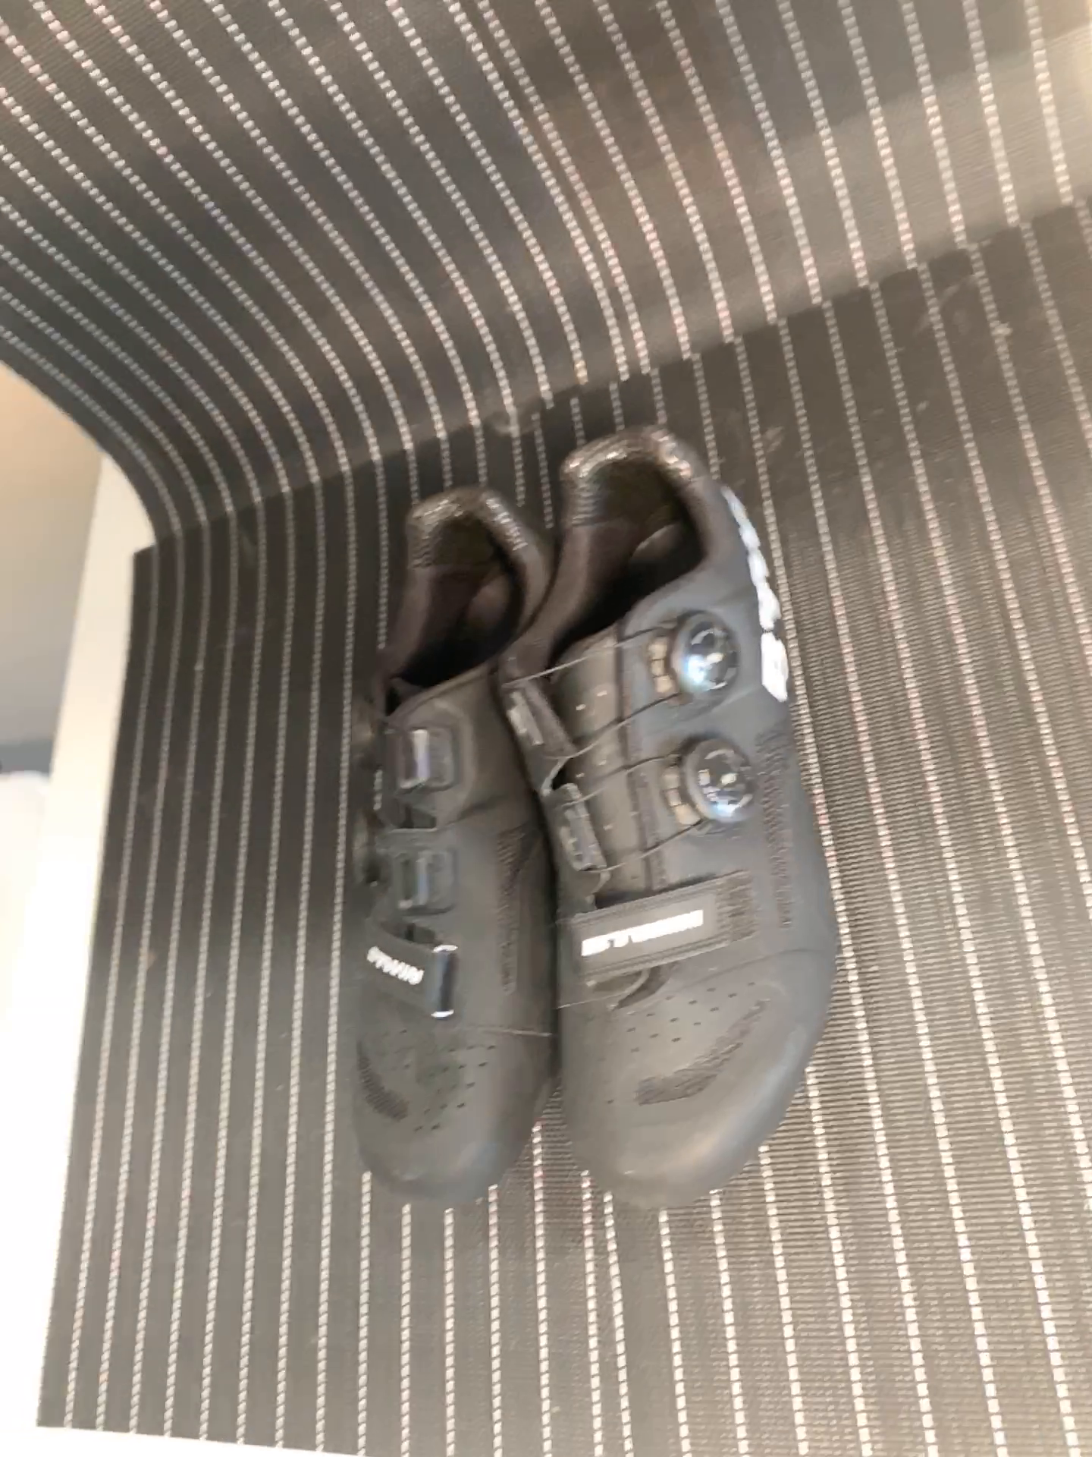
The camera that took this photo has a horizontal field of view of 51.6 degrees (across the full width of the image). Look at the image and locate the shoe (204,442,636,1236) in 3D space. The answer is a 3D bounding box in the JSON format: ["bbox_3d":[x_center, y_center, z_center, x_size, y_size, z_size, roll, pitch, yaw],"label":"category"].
[{"bbox_3d":[-0.037,0.039,0.422,0.100,0.090,0.260,-6,69,28],"label":"shoe"}]

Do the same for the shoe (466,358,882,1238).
[{"bbox_3d":[0.044,0.024,0.392,0.100,0.090,0.270,-9,67,27],"label":"shoe"}]
